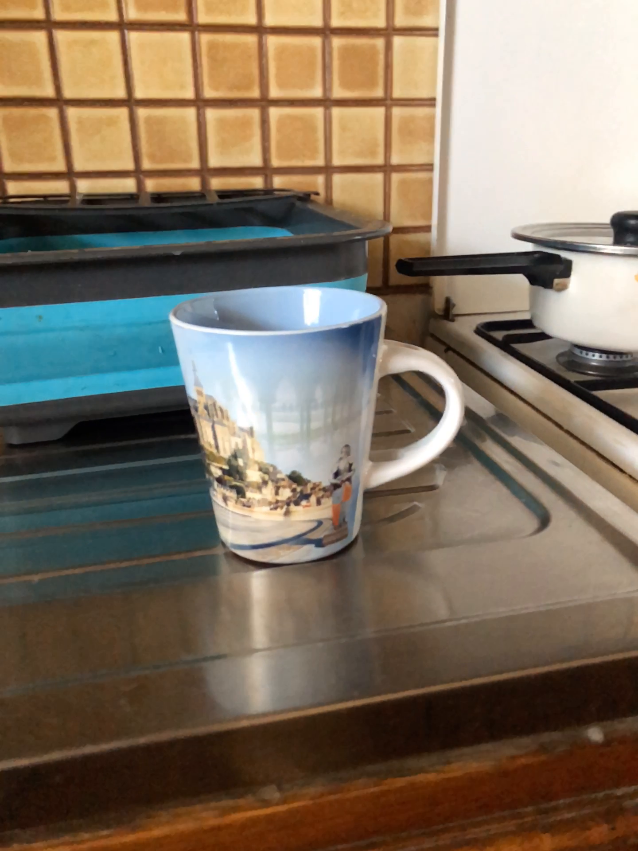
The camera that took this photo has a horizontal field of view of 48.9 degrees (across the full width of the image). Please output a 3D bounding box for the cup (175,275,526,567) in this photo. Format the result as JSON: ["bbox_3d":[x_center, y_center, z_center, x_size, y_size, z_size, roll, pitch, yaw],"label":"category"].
[{"bbox_3d":[0.009,-0.009,0.323,0.130,0.099,0.100,-2,21,-4],"label":"cup"}]
